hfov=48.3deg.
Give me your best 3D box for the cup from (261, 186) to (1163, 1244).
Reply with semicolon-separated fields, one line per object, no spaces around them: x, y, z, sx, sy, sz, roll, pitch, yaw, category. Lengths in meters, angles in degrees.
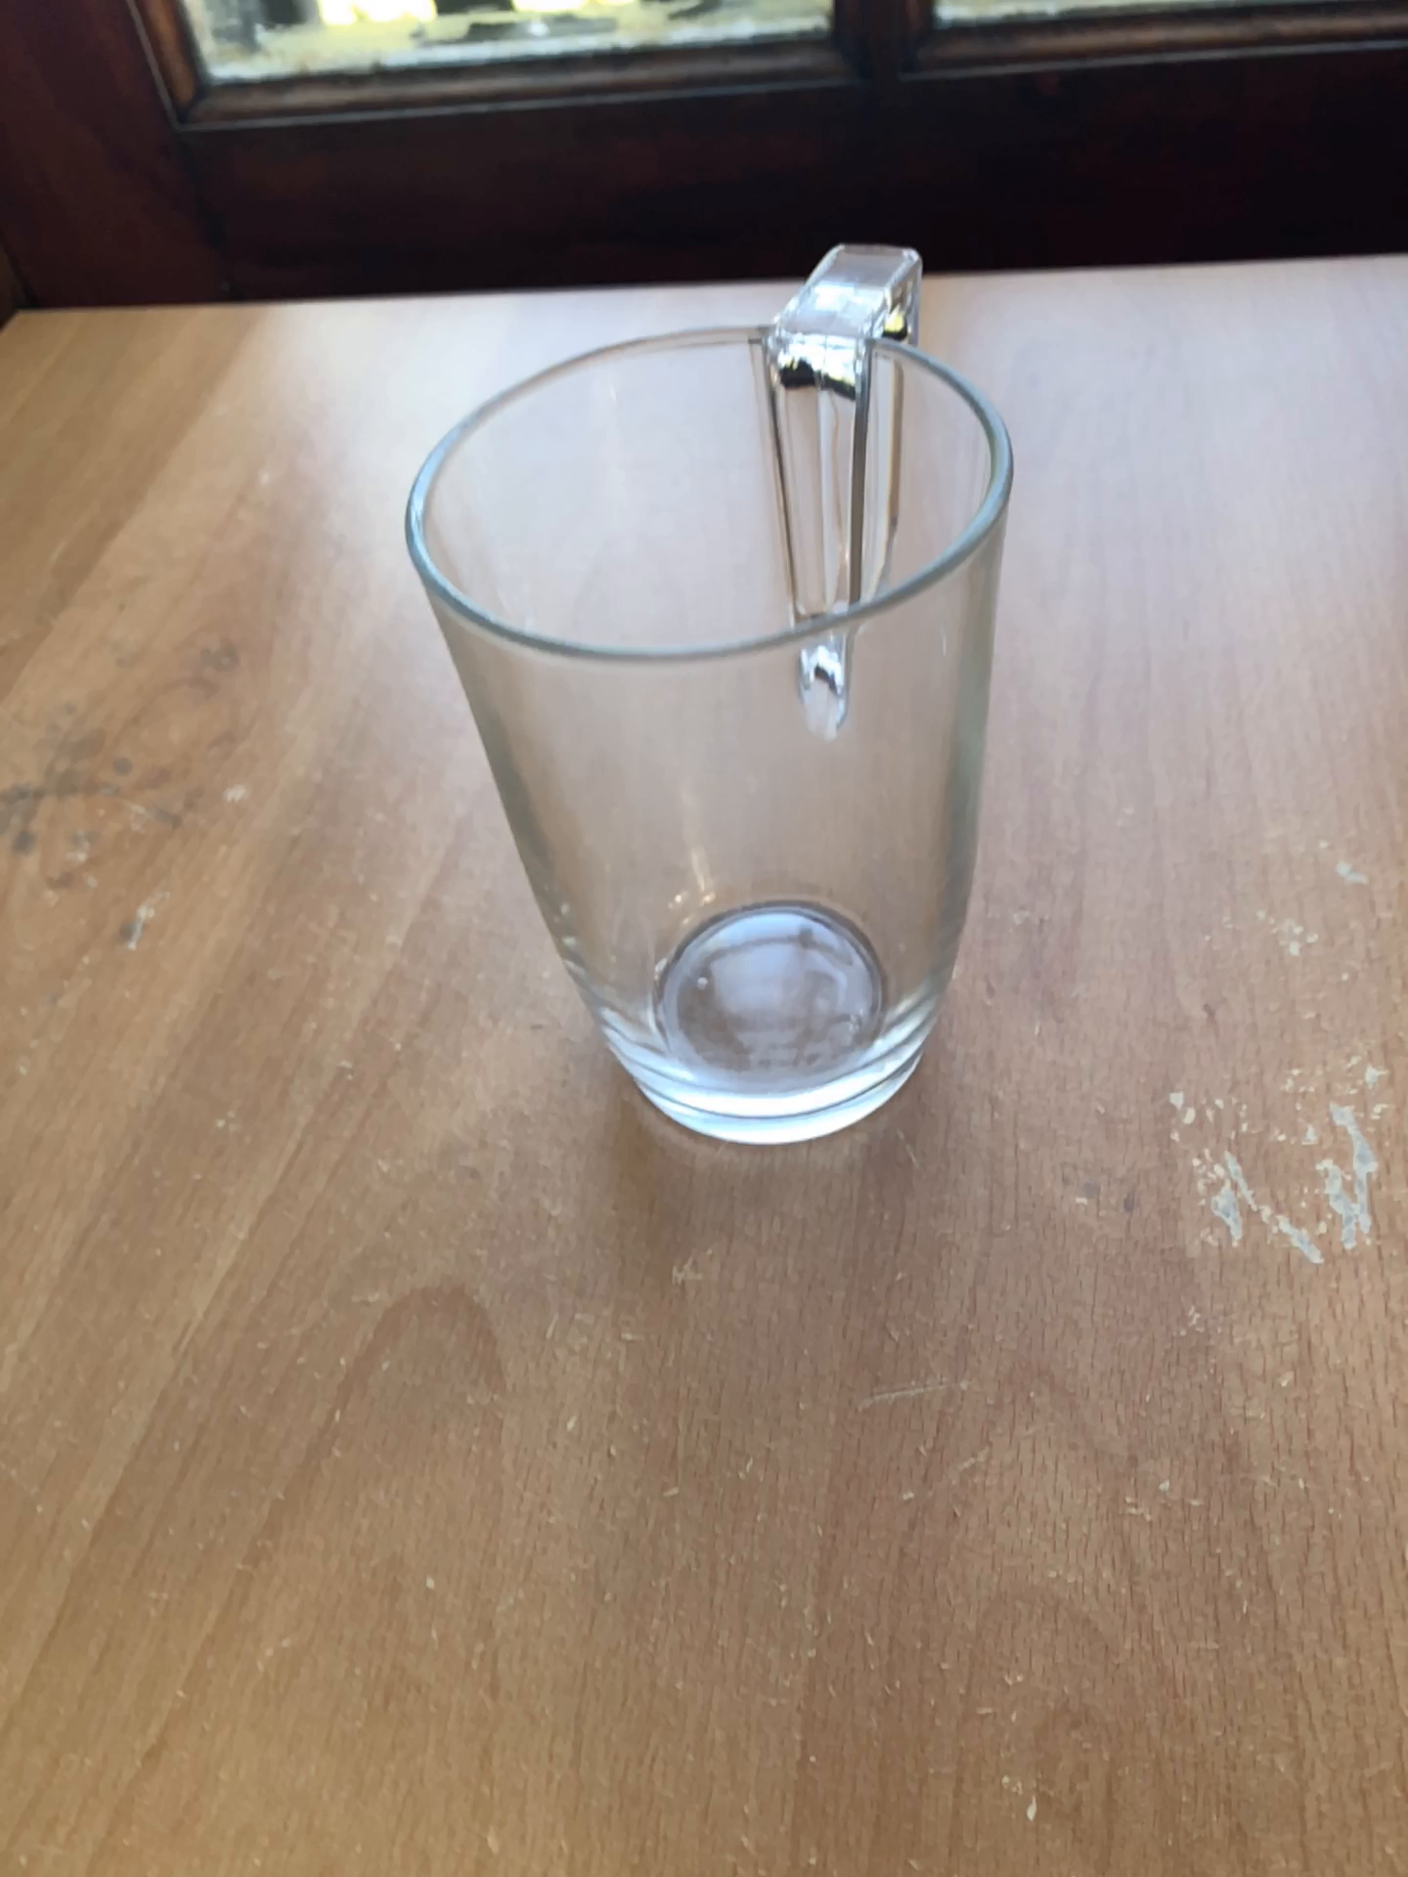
0.012;-0.035;0.236;0.078;0.103;0.104;15;53;22;cup
